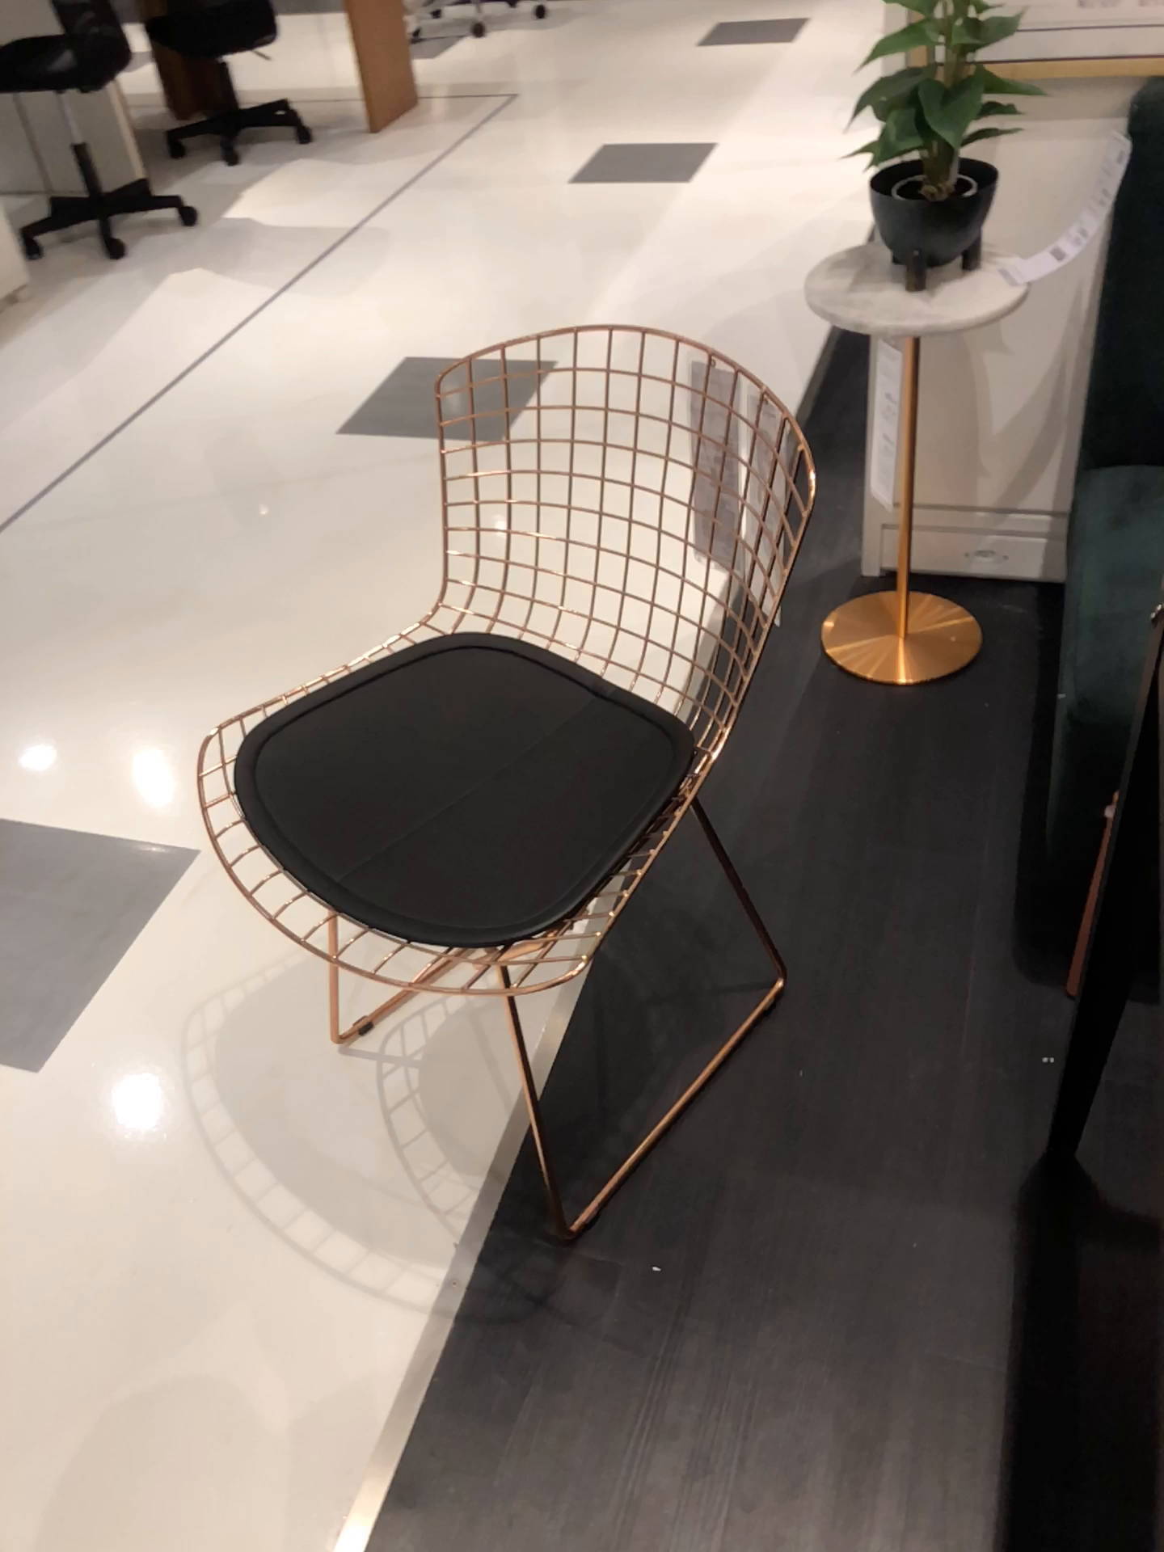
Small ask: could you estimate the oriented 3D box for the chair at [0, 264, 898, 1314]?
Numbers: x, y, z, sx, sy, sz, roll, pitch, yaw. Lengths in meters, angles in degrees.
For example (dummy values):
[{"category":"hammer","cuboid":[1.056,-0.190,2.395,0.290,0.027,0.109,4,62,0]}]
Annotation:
[{"category":"chair","cuboid":[-0.074,-0.005,1.284,0.522,0.744,0.542,27,52,34]}]
